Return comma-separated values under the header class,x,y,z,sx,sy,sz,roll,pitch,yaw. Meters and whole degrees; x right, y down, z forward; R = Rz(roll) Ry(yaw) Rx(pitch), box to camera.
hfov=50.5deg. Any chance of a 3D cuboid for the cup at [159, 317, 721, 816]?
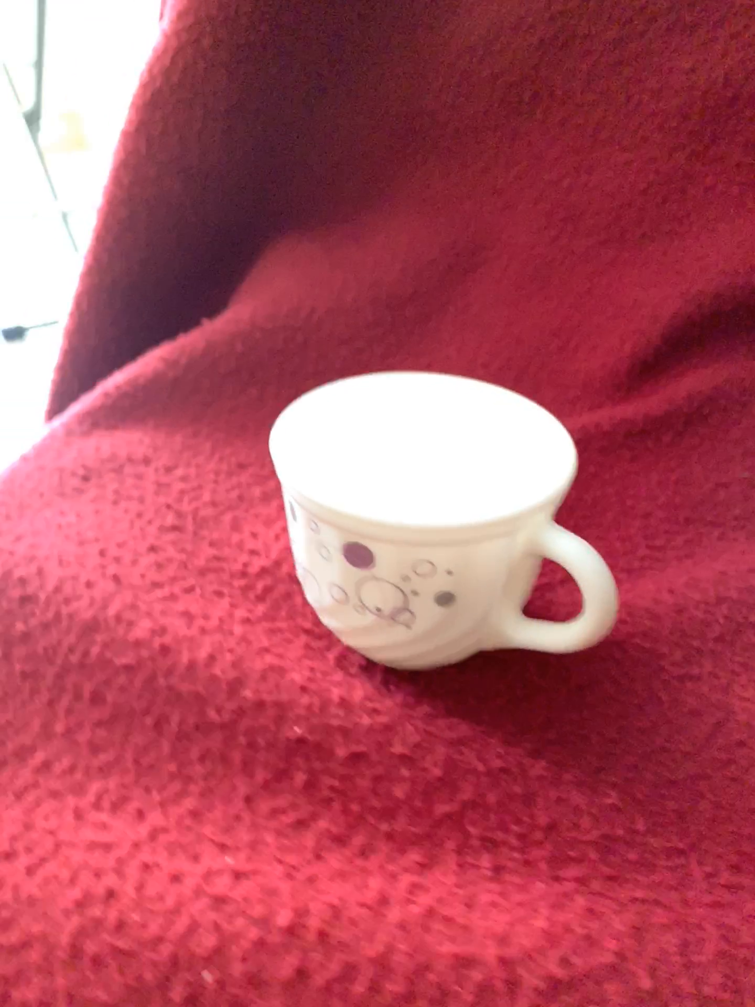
class,x,y,z,sx,sy,sz,roll,pitch,yaw
cup,0.012,0.004,0.197,0.080,0.050,0.100,-30,45,-33
